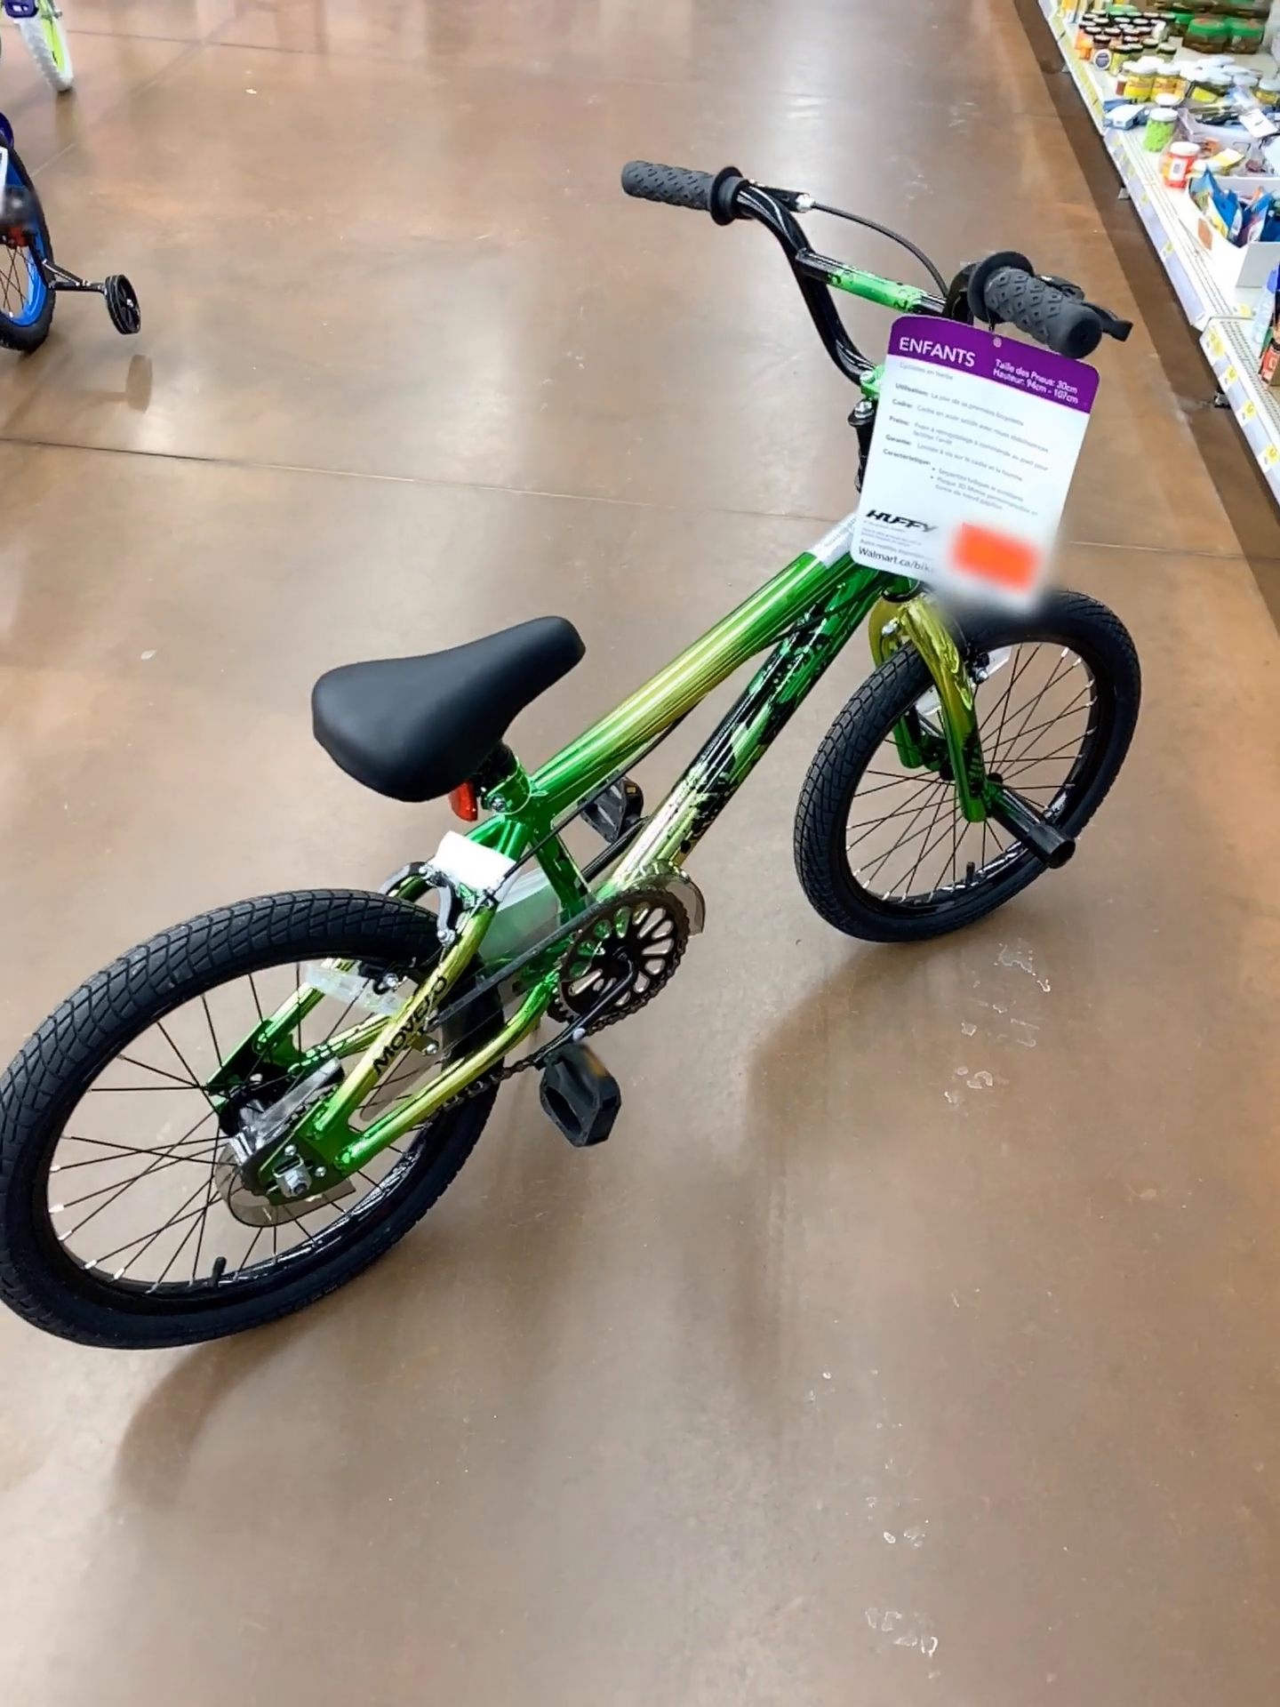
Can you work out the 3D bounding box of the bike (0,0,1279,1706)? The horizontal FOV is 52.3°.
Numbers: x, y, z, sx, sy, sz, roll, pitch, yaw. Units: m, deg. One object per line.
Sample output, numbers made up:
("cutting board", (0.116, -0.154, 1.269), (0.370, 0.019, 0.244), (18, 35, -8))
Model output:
("bike", (0.141, -0.081, 1.147), (1.408, 1.034, 0.719), (-26, 50, -20))
